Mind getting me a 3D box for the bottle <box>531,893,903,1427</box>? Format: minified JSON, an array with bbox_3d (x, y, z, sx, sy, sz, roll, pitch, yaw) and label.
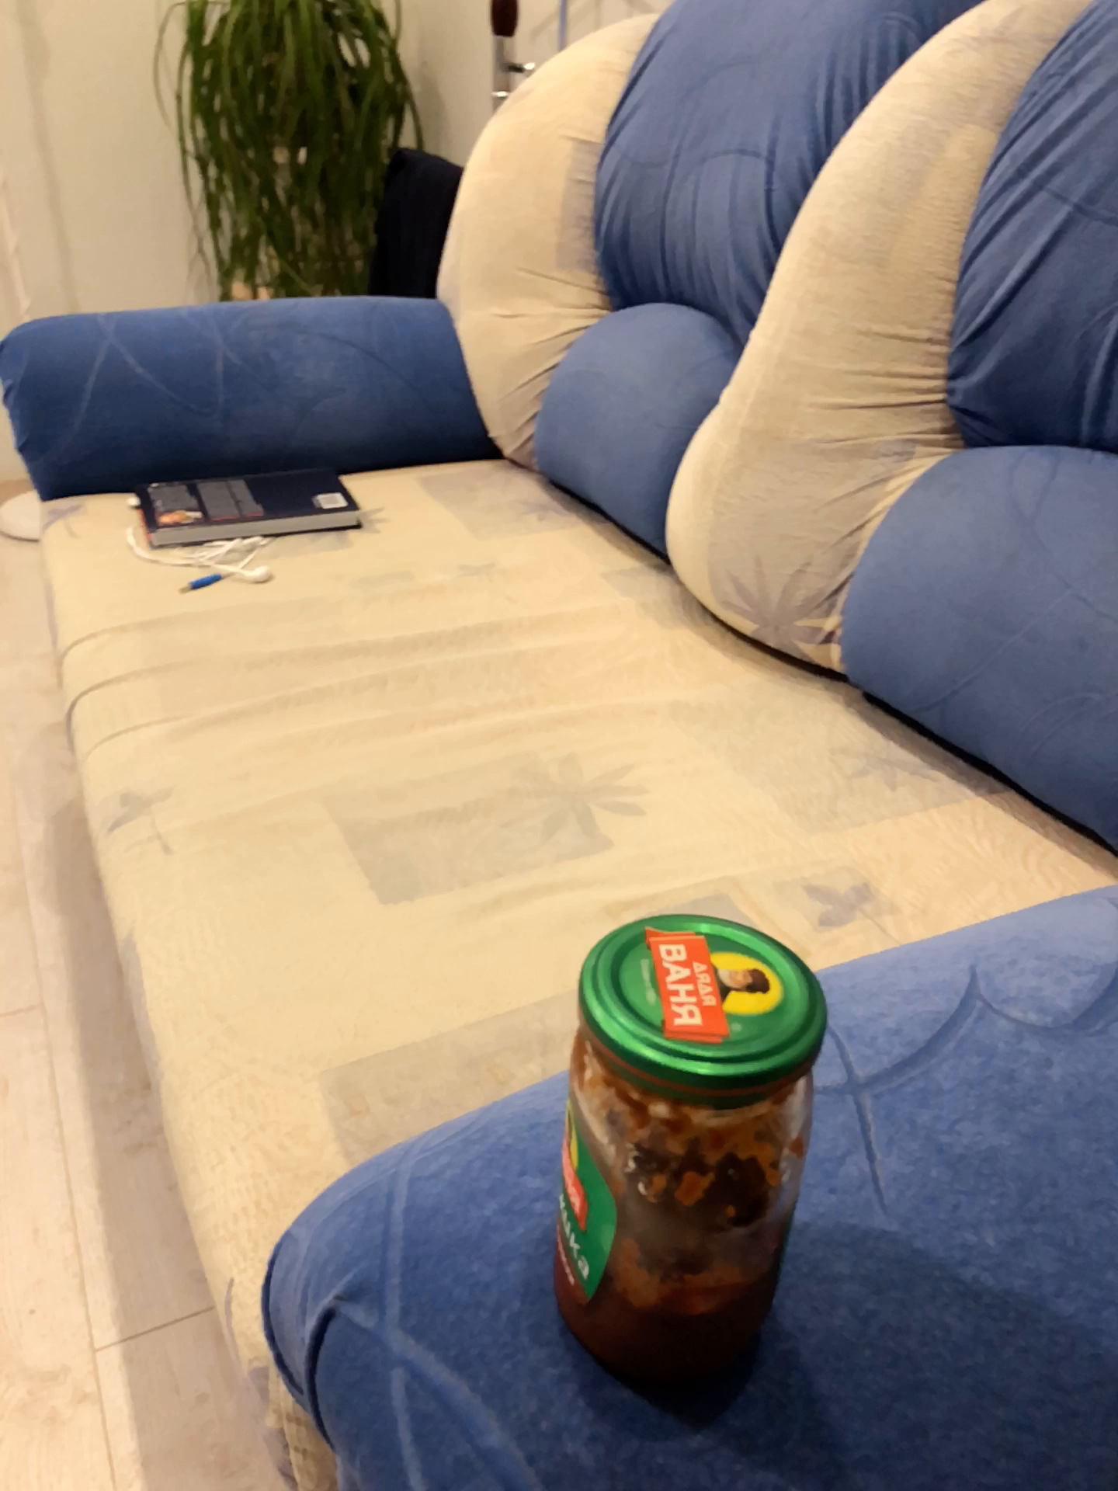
[{"bbox_3d":[0.027,0.089,0.265,0.060,0.092,0.060,4,27,-2],"label":"bottle"}]
